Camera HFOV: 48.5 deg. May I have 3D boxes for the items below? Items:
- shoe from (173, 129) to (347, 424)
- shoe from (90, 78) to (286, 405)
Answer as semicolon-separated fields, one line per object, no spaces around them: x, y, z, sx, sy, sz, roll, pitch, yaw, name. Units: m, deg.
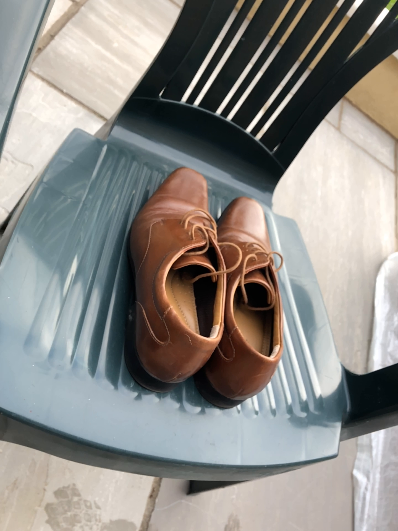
0.076;0.006;0.478;0.110;0.109;0.281;27;55;-19;shoe
0.001;-0.030;0.441;0.110;0.109;0.291;24;56;-21;shoe
